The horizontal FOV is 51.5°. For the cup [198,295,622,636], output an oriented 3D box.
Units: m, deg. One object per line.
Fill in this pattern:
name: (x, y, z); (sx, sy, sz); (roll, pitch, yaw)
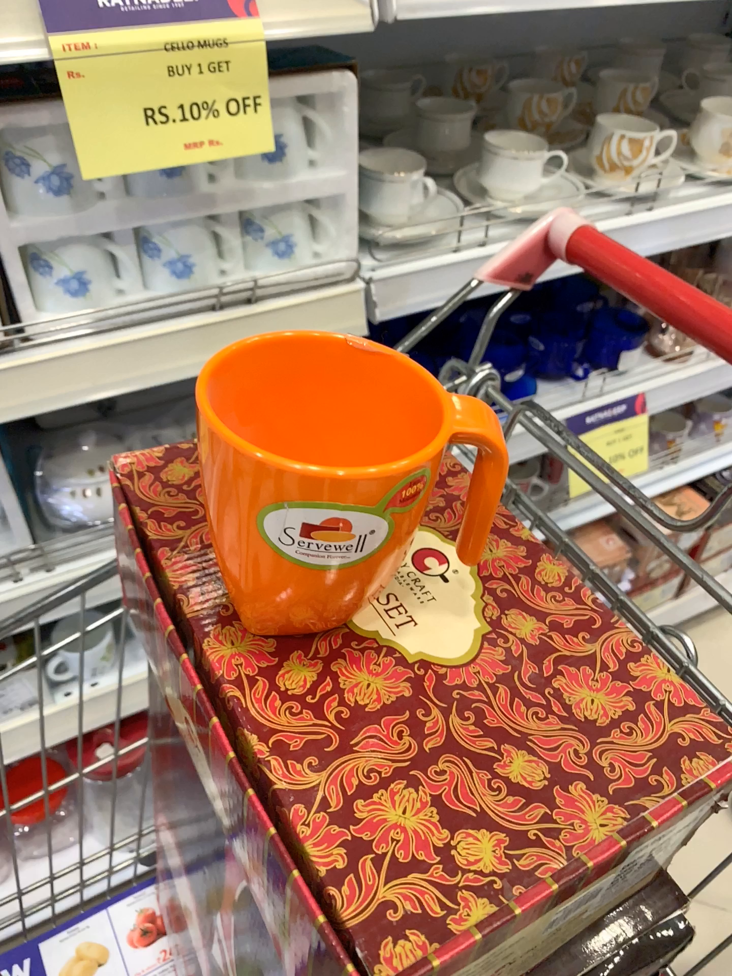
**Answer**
cup: (0.005, -0.007, 0.244); (0.110, 0.070, 0.080); (2, 42, -10)
